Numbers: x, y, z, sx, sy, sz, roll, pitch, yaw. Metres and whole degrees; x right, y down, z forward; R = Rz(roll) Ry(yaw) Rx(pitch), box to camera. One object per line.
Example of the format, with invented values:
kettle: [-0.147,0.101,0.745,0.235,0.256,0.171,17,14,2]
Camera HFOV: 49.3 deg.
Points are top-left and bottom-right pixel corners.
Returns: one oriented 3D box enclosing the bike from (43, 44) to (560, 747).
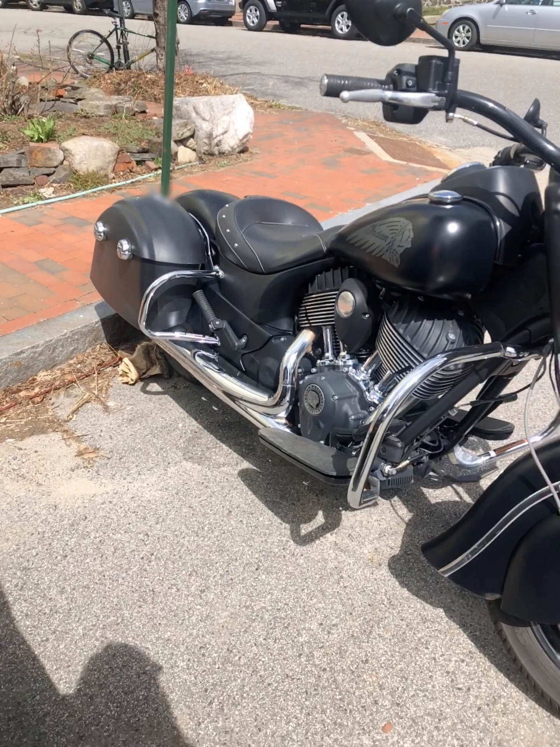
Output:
bike: [0.281,-0.131,1.600,0.783,1.237,2.133,-24,37,-32]
